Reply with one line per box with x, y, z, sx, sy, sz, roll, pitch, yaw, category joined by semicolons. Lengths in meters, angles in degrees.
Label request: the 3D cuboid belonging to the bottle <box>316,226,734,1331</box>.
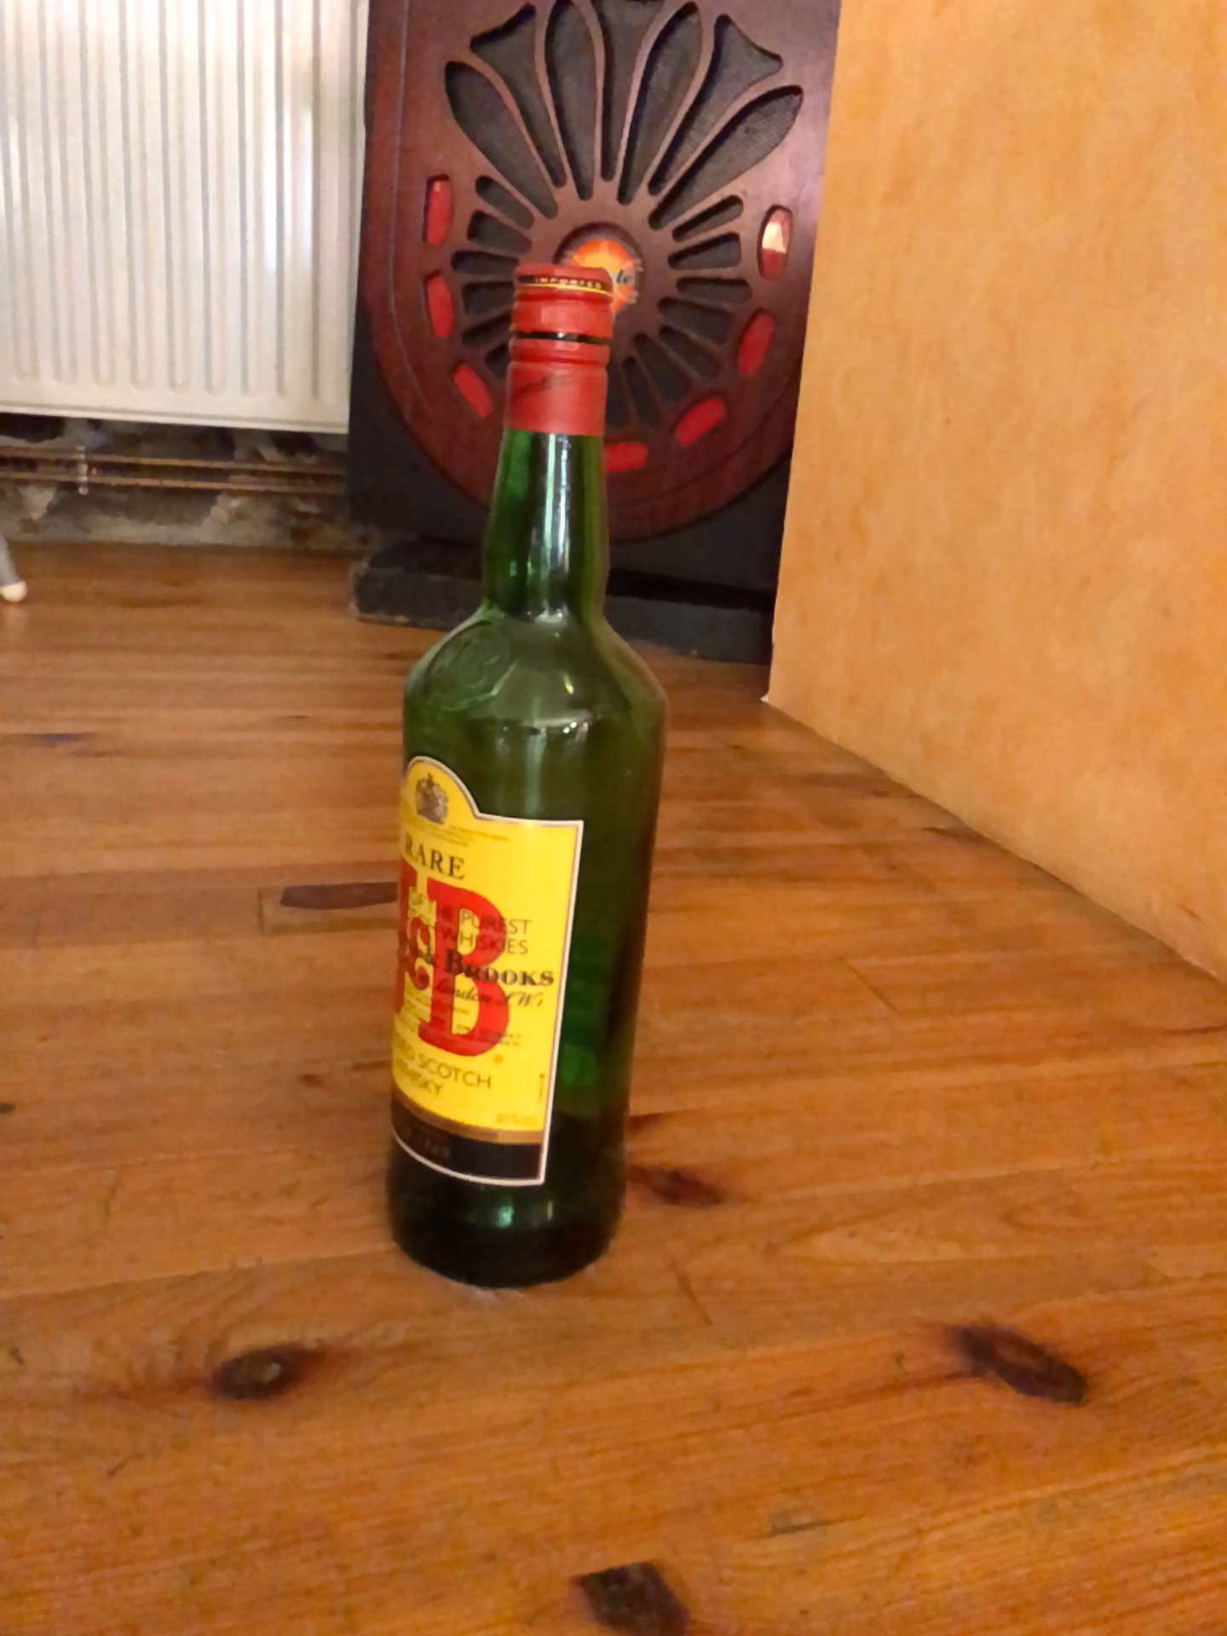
-0.036;-0.010;0.431;0.080;0.319;0.090;-11;23;-40;bottle
